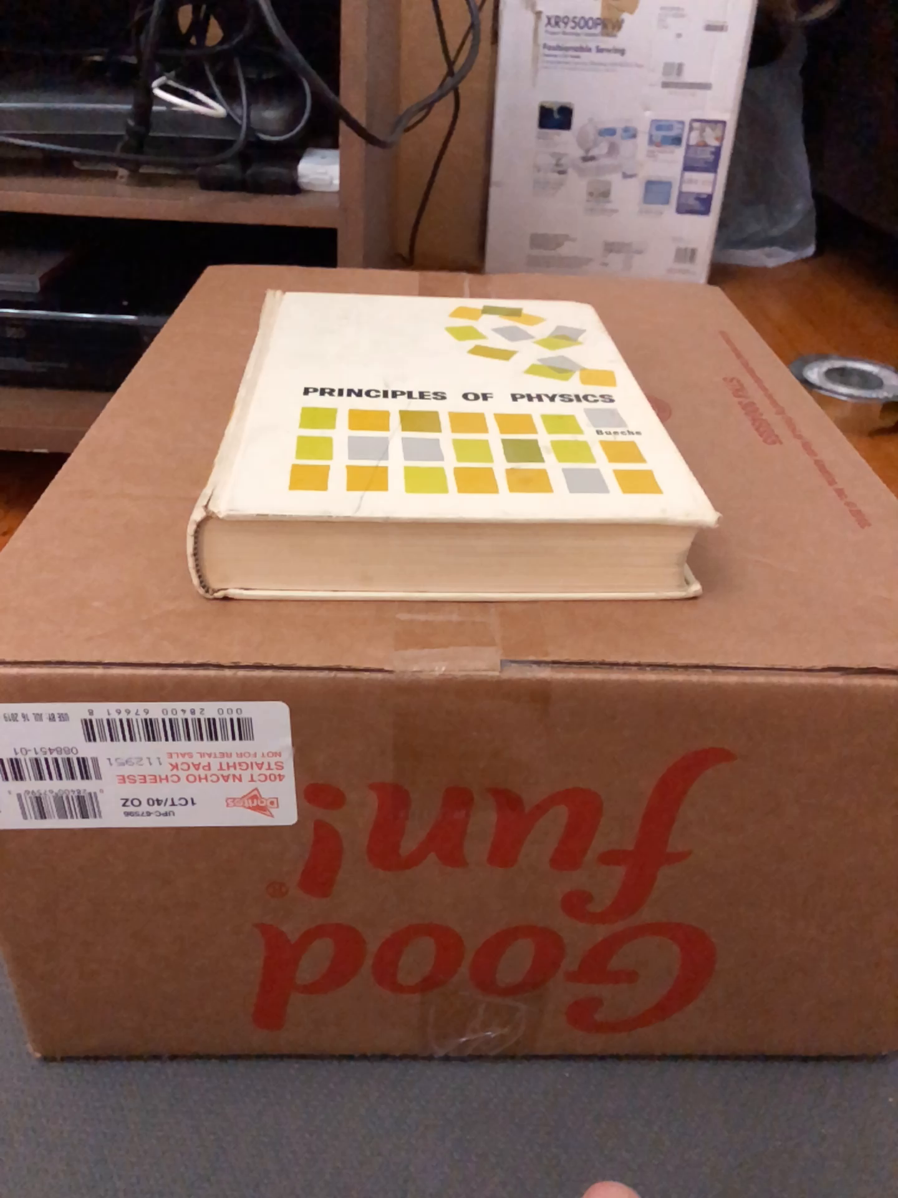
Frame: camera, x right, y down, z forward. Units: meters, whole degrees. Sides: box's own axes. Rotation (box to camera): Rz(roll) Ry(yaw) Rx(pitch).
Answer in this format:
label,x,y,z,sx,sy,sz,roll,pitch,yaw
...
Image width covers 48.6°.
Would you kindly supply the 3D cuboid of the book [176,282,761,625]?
label,x,y,z,sx,sy,sz,roll,pitch,yaw
book,0.002,-0.077,0.421,0.180,0.040,0.251,0,33,-3
